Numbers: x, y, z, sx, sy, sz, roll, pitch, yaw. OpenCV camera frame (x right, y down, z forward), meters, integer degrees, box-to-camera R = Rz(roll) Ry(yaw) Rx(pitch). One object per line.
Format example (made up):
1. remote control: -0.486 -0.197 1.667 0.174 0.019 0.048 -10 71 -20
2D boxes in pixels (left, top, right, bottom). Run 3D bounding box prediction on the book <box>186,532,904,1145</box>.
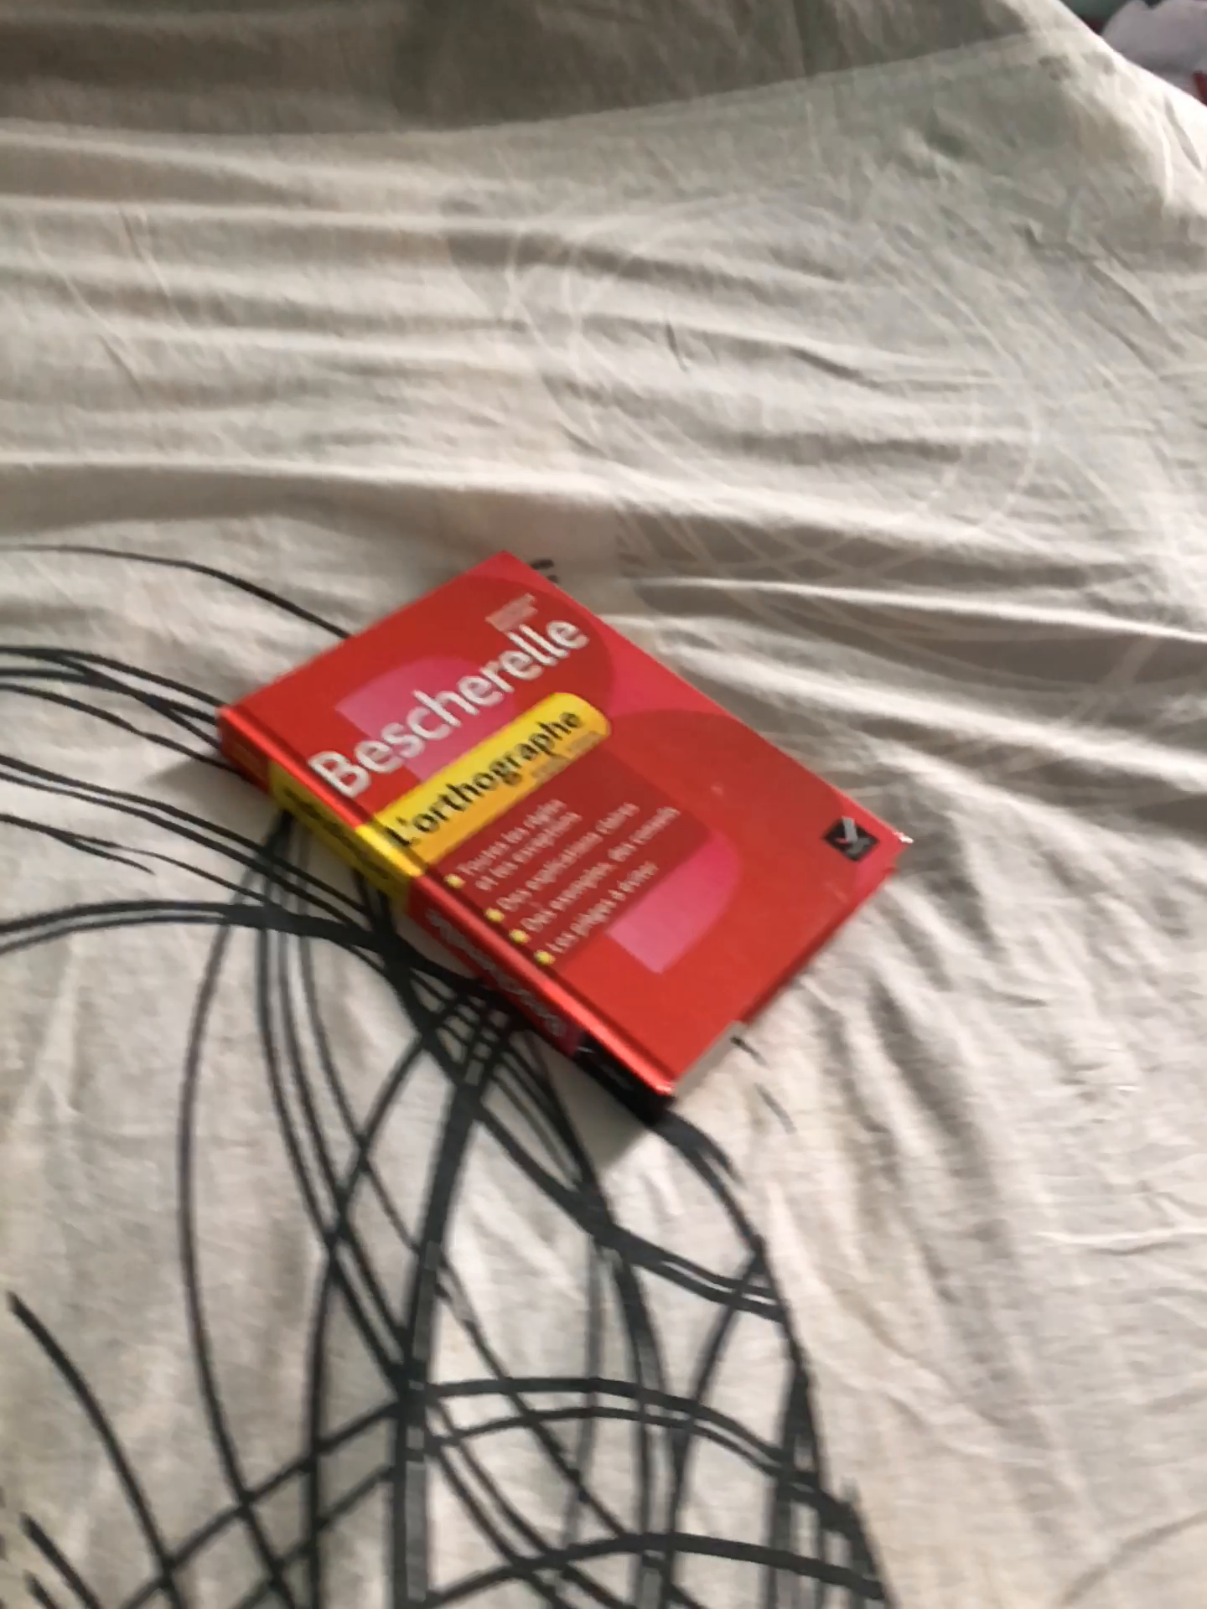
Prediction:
1. book: -0.017 -0.003 0.444 0.189 0.023 0.143 38 53 17
